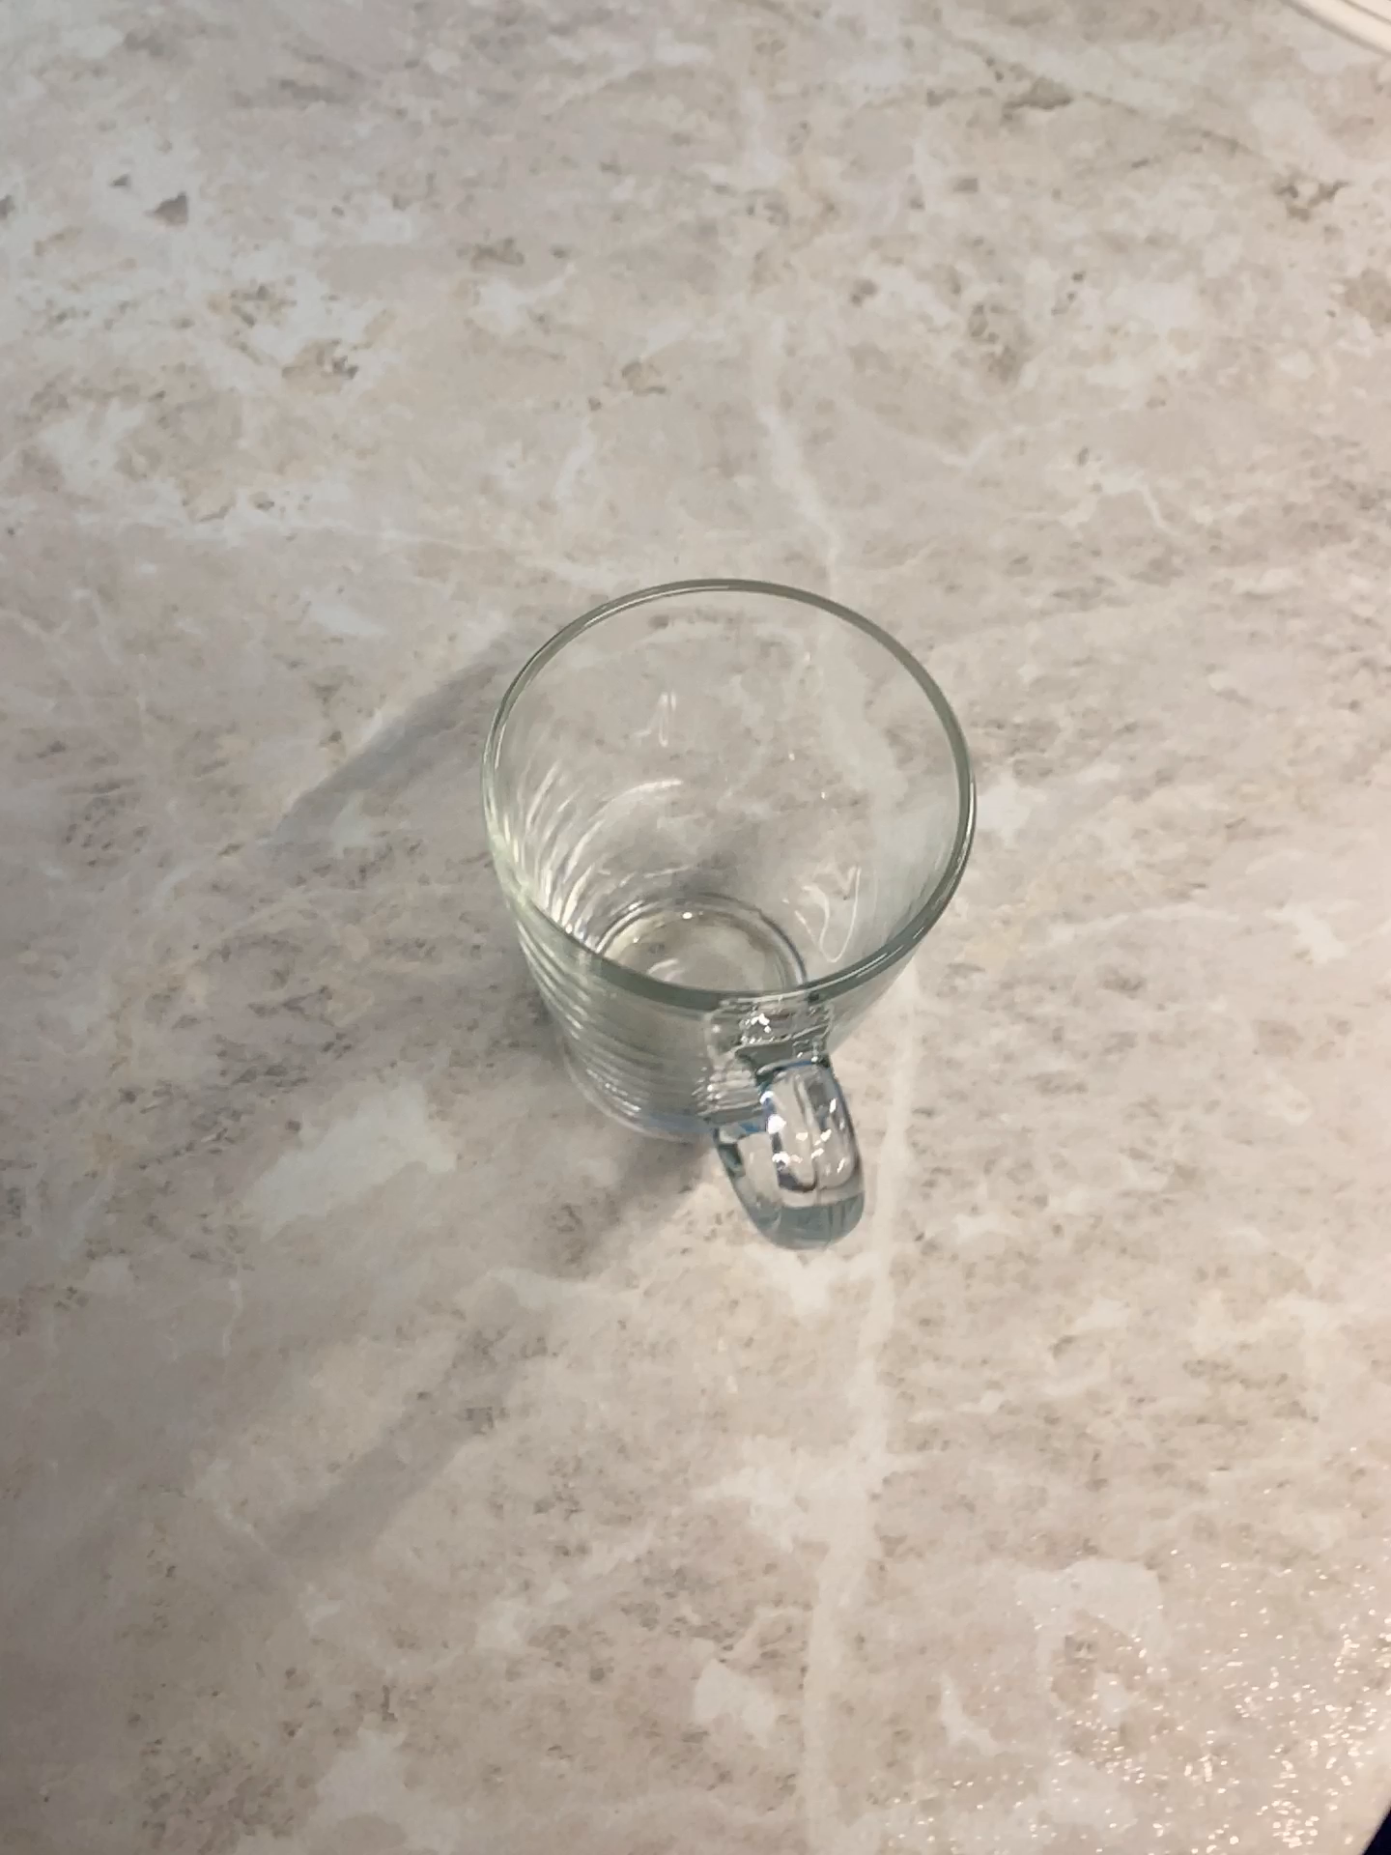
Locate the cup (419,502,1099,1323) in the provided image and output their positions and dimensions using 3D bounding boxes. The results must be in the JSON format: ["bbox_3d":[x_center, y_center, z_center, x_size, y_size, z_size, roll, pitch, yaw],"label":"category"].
[{"bbox_3d":[0.003,0.002,0.273,0.089,0.097,0.116,-7,67,-7],"label":"cup"}]
